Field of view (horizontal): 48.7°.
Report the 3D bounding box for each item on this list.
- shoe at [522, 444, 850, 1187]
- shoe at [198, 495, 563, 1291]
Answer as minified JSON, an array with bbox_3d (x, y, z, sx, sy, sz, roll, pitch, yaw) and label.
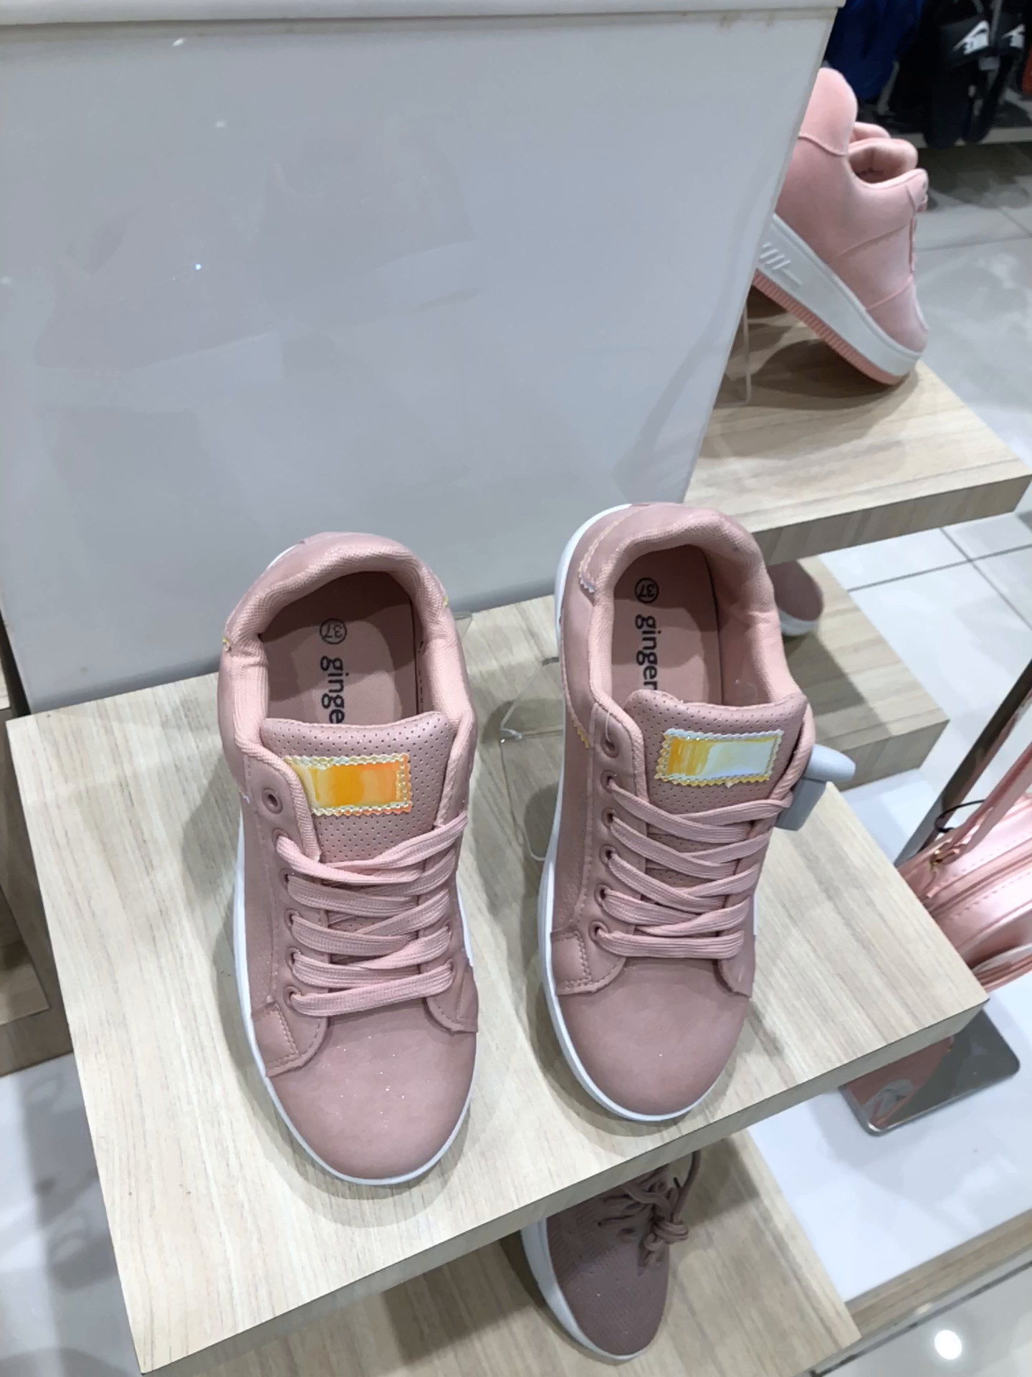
[{"bbox_3d":[0.064,0.047,0.458,0.099,0.094,0.261,3,85,-10],"label":"shoe"},{"bbox_3d":[-0.054,0.064,0.423,0.103,0.094,0.252,-4,89,-13],"label":"shoe"}]
